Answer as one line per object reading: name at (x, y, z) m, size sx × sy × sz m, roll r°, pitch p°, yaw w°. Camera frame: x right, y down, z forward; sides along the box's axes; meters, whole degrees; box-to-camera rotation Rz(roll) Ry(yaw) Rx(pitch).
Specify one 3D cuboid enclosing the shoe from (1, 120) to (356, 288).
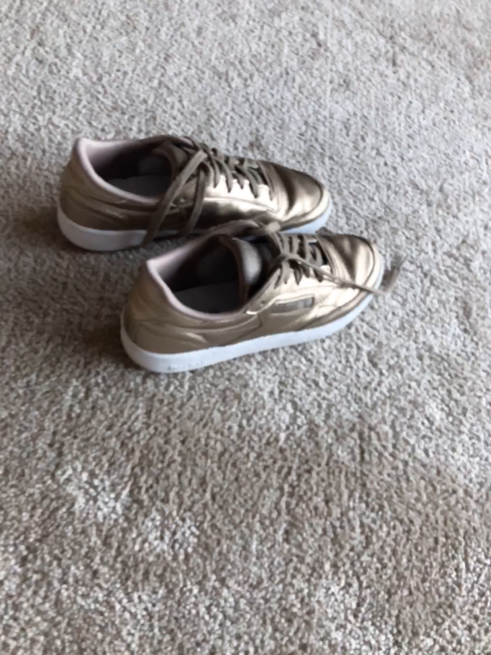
shoe at (-0.056, -0.117, 0.491) m, size 0.280 × 0.070 × 0.110 m, roll -8°, pitch 63°, yaw -20°

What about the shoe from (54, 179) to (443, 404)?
shoe at (0.005, -0.038, 0.444) m, size 0.281 × 0.070 × 0.110 m, roll -13°, pitch 65°, yaw -22°
